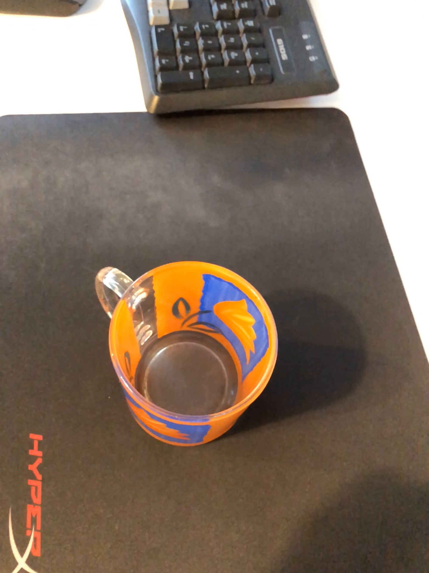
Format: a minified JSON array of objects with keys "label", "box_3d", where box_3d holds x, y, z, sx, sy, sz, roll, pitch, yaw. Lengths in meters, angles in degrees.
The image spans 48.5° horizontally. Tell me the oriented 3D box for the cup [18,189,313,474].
[{"label":"cup","box_3d":[-0.025,0.028,0.259,0.114,0.089,0.075,38,67,13]}]
